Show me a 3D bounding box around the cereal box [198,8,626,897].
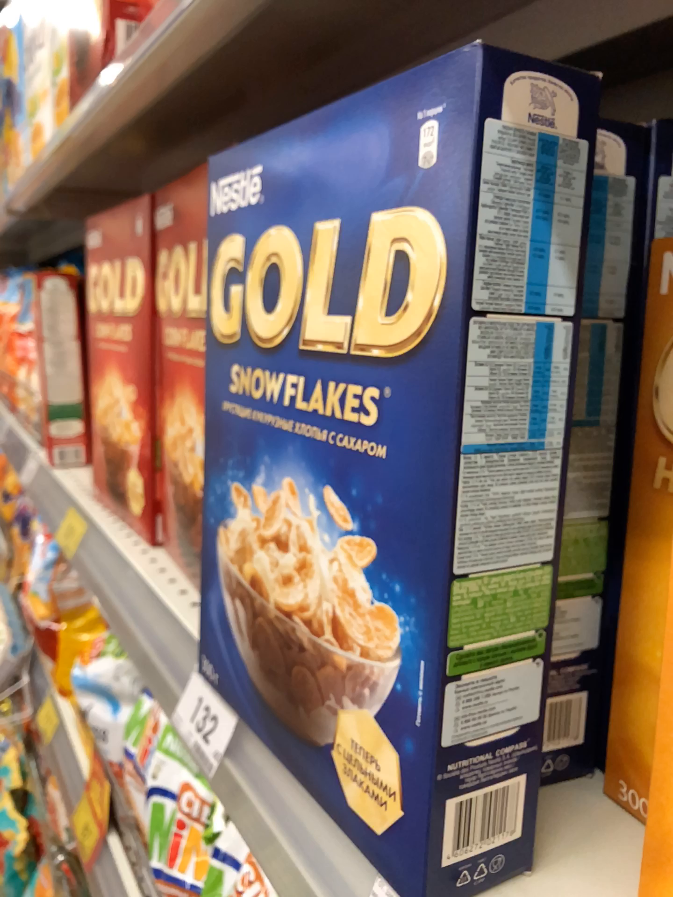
[{"bbox_3d":[0.005,0.005,0.308,0.050,0.269,0.200,-2,9,-31],"label":"cereal box"}]
